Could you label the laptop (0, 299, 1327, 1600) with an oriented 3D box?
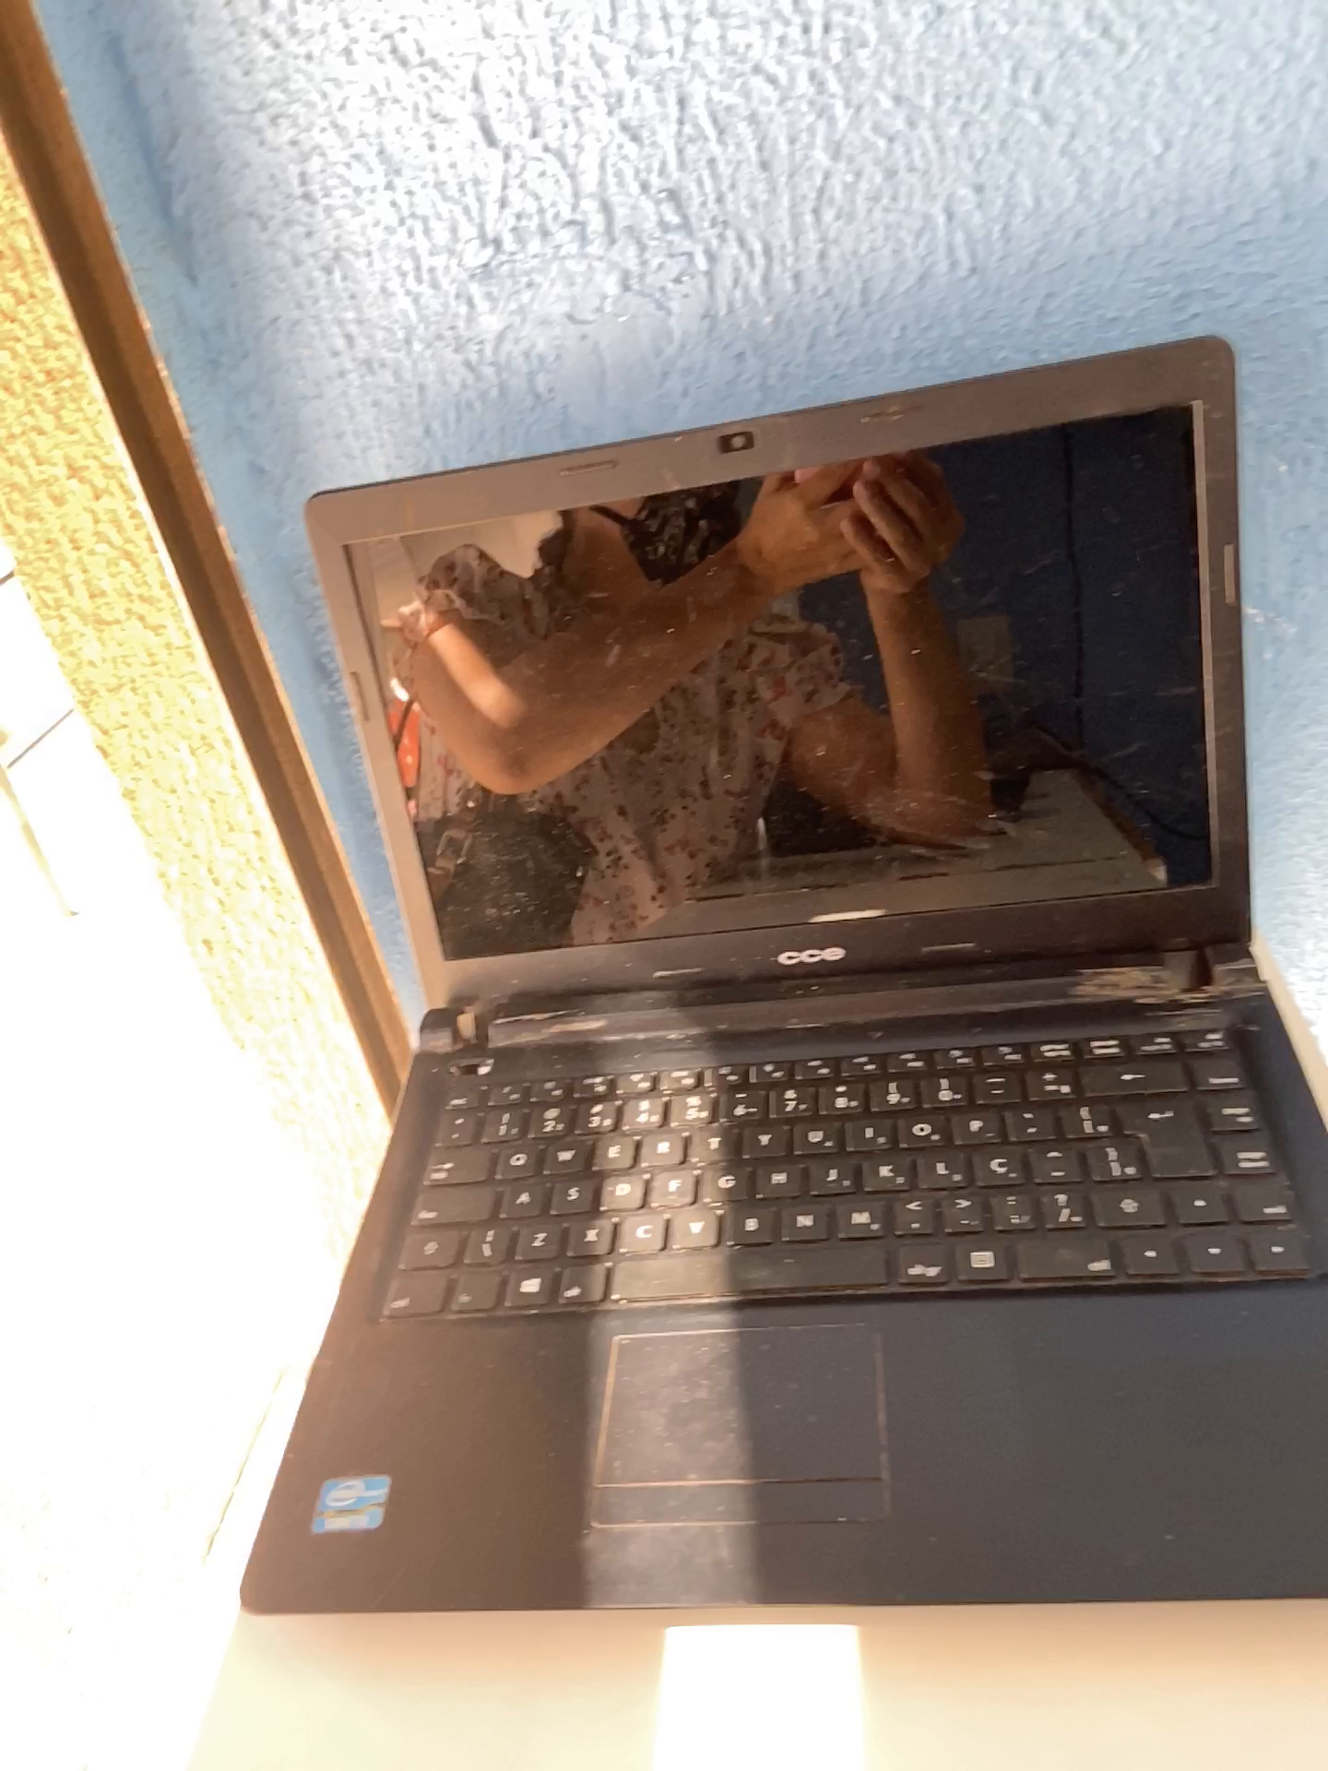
[{"bbox_3d":[0.033,0.002,0.430,0.333,0.211,0.314,-6,35,11],"label":"laptop"}]
